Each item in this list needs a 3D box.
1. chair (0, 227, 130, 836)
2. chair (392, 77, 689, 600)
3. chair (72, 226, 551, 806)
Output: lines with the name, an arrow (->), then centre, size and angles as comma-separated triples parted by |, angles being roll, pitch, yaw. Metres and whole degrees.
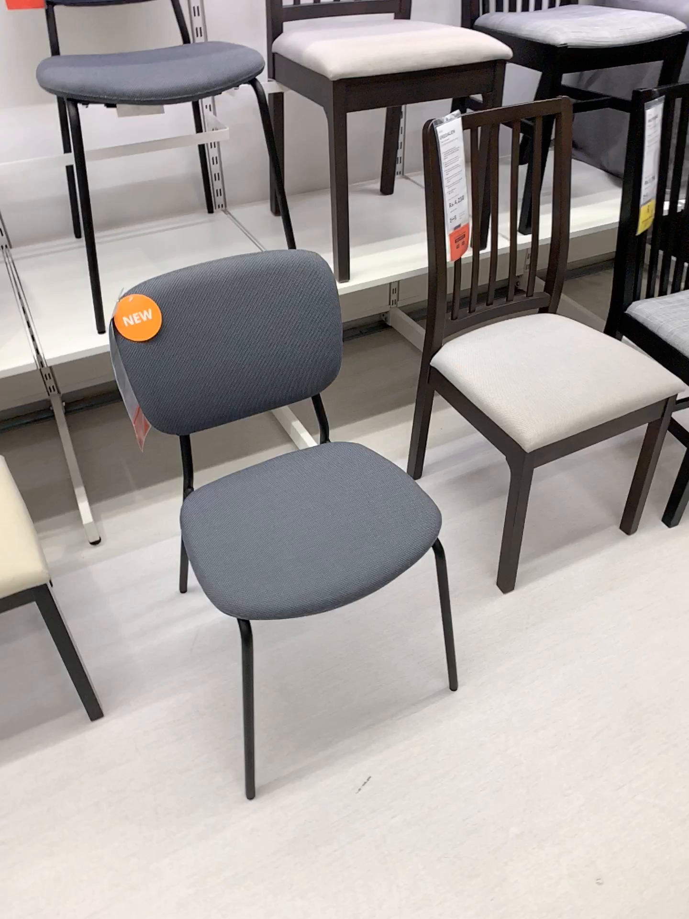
chair -> -0.766, 0.126, 1.229 | 0.480, 0.807, 0.532 | -19, 44, -20
chair -> 0.467, -0.258, 1.571 | 0.480, 0.926, 0.532 | -20, 44, -21
chair -> -0.083, 0.085, 1.311 | 0.520, 0.757, 0.592 | -20, 44, -21
